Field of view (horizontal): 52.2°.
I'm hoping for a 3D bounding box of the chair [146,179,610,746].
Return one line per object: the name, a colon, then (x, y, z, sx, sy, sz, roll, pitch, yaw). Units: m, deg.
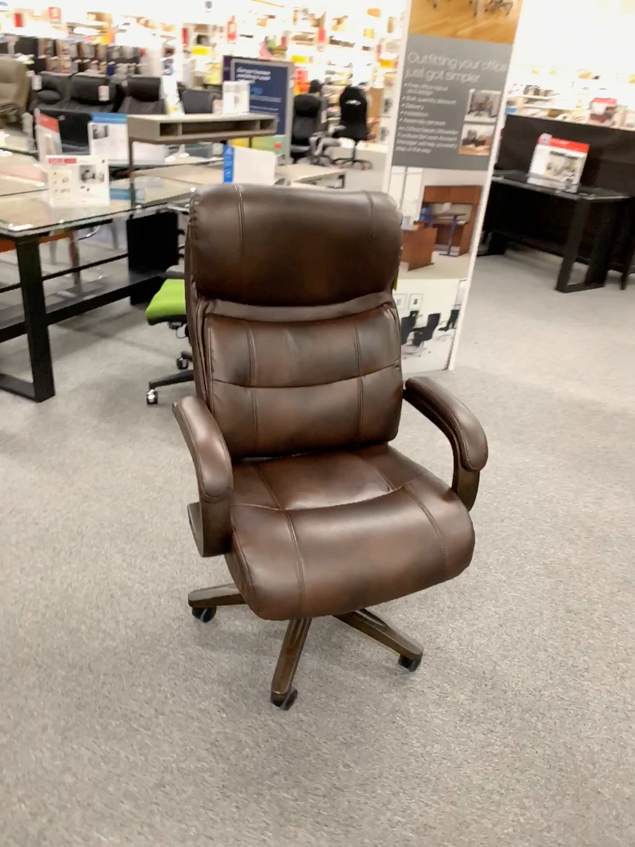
chair: (0.022, 0.041, 1.618, 0.750, 1.094, 0.704, -6, 30, -21)
